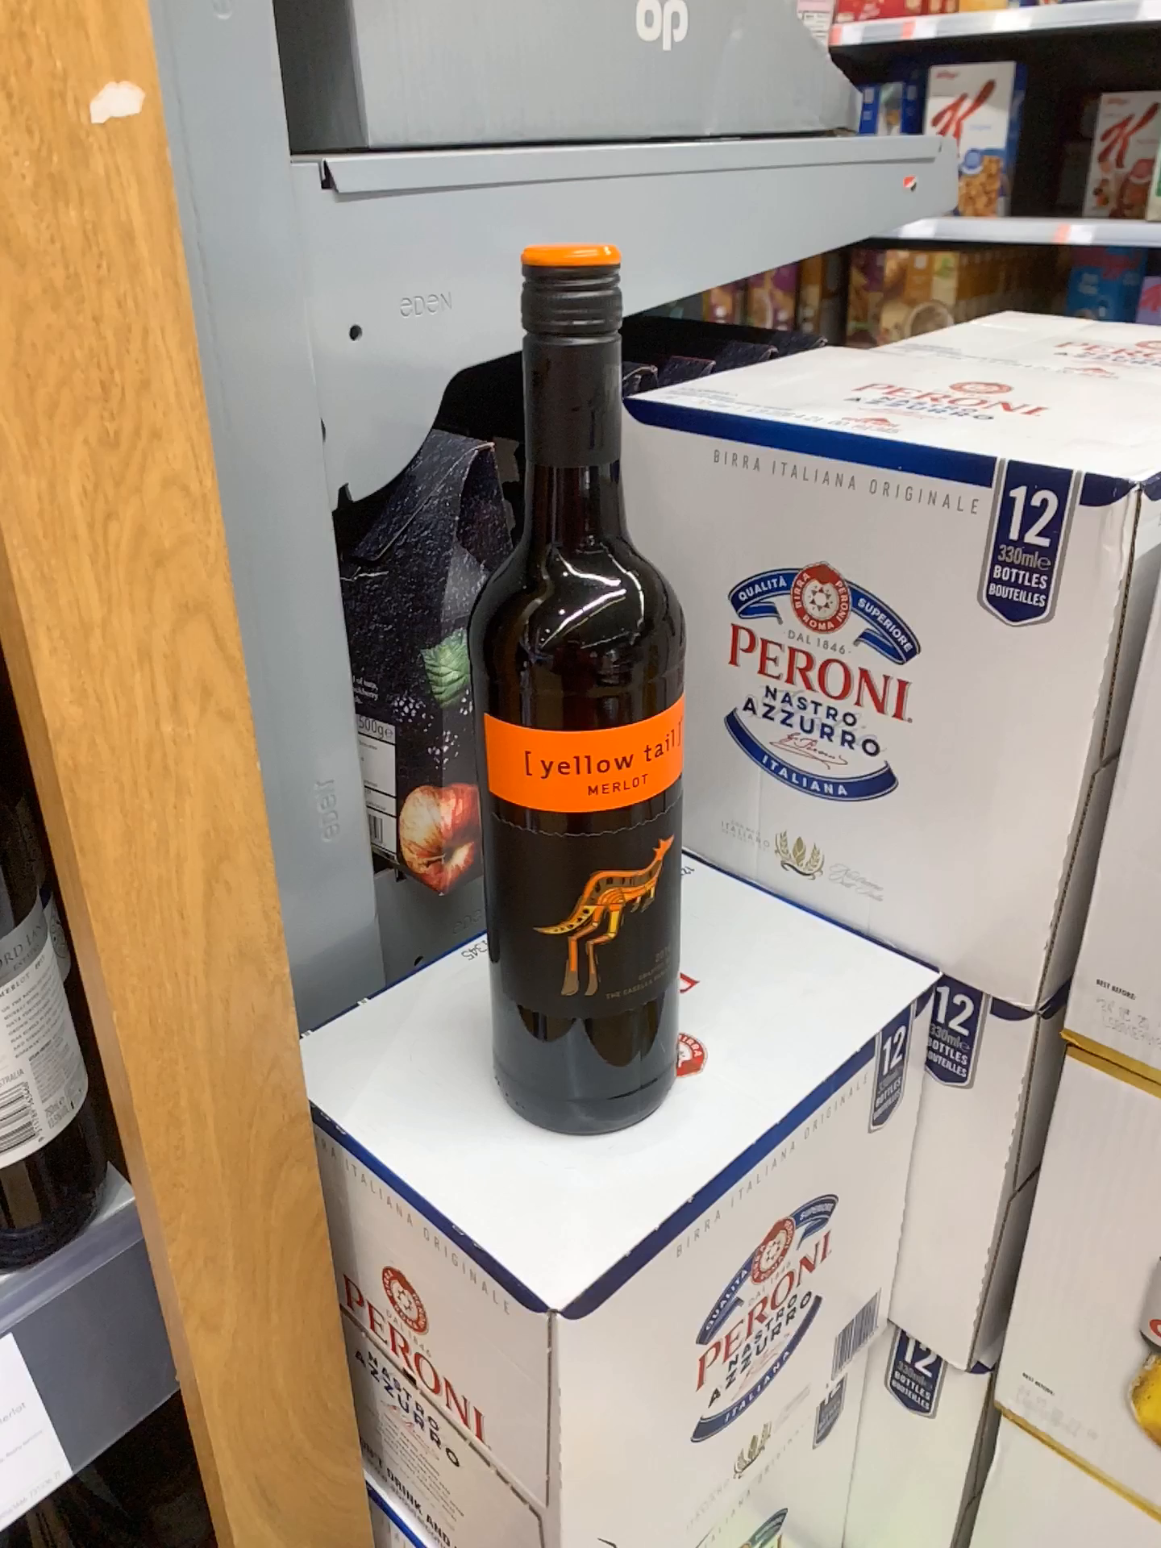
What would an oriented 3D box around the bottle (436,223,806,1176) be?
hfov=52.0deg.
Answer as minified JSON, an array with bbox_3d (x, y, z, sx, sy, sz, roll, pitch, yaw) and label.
[{"bbox_3d":[0.011,-0.016,0.394,0.078,0.297,0.077,-1,27,0],"label":"bottle"}]
